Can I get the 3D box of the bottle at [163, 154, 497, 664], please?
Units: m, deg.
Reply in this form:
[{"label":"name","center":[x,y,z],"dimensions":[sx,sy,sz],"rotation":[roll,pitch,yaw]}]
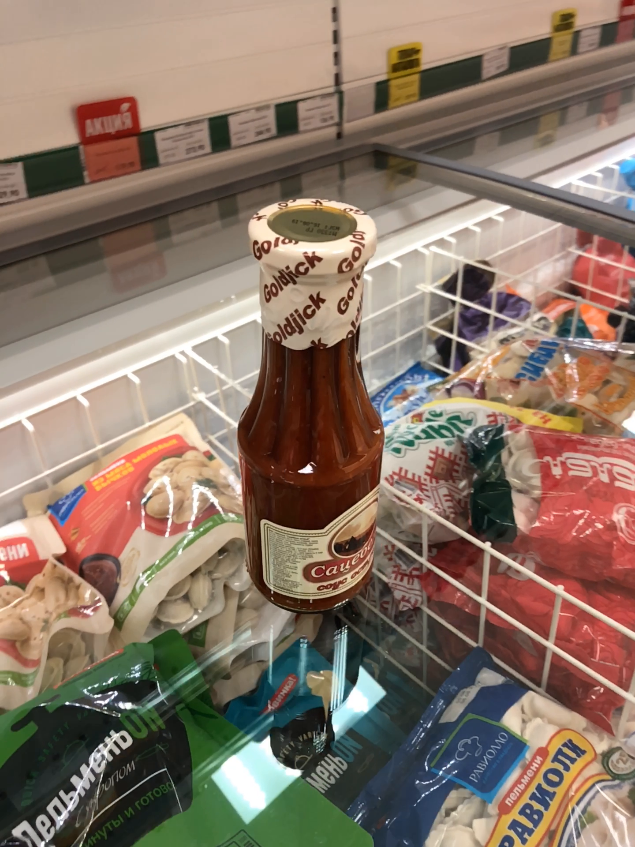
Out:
[{"label":"bottle","center":[0.004,-0.003,0.291],"dimensions":[0.080,0.179,0.080],"rotation":[0,37,0]}]
